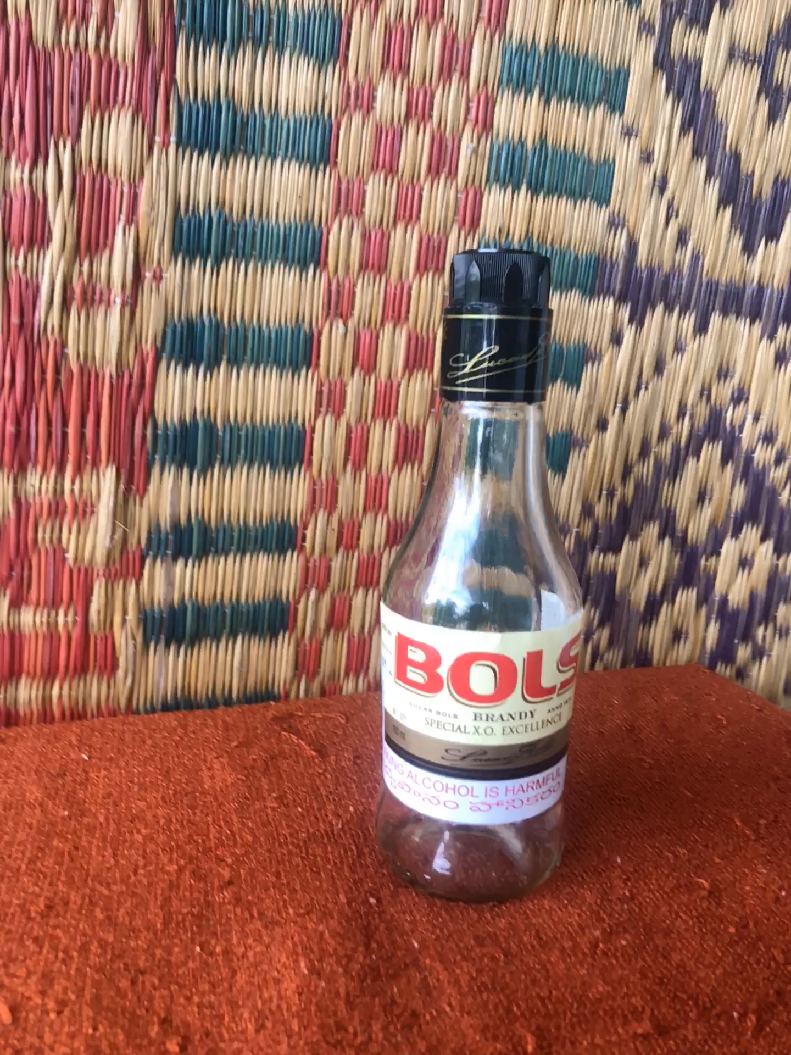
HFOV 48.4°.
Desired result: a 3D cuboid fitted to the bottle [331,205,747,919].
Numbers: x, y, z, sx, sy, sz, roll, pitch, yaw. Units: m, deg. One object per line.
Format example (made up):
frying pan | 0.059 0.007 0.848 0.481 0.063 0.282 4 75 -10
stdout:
bottle | 0.028 0.007 0.227 0.070 0.159 0.060 1 14 -16
